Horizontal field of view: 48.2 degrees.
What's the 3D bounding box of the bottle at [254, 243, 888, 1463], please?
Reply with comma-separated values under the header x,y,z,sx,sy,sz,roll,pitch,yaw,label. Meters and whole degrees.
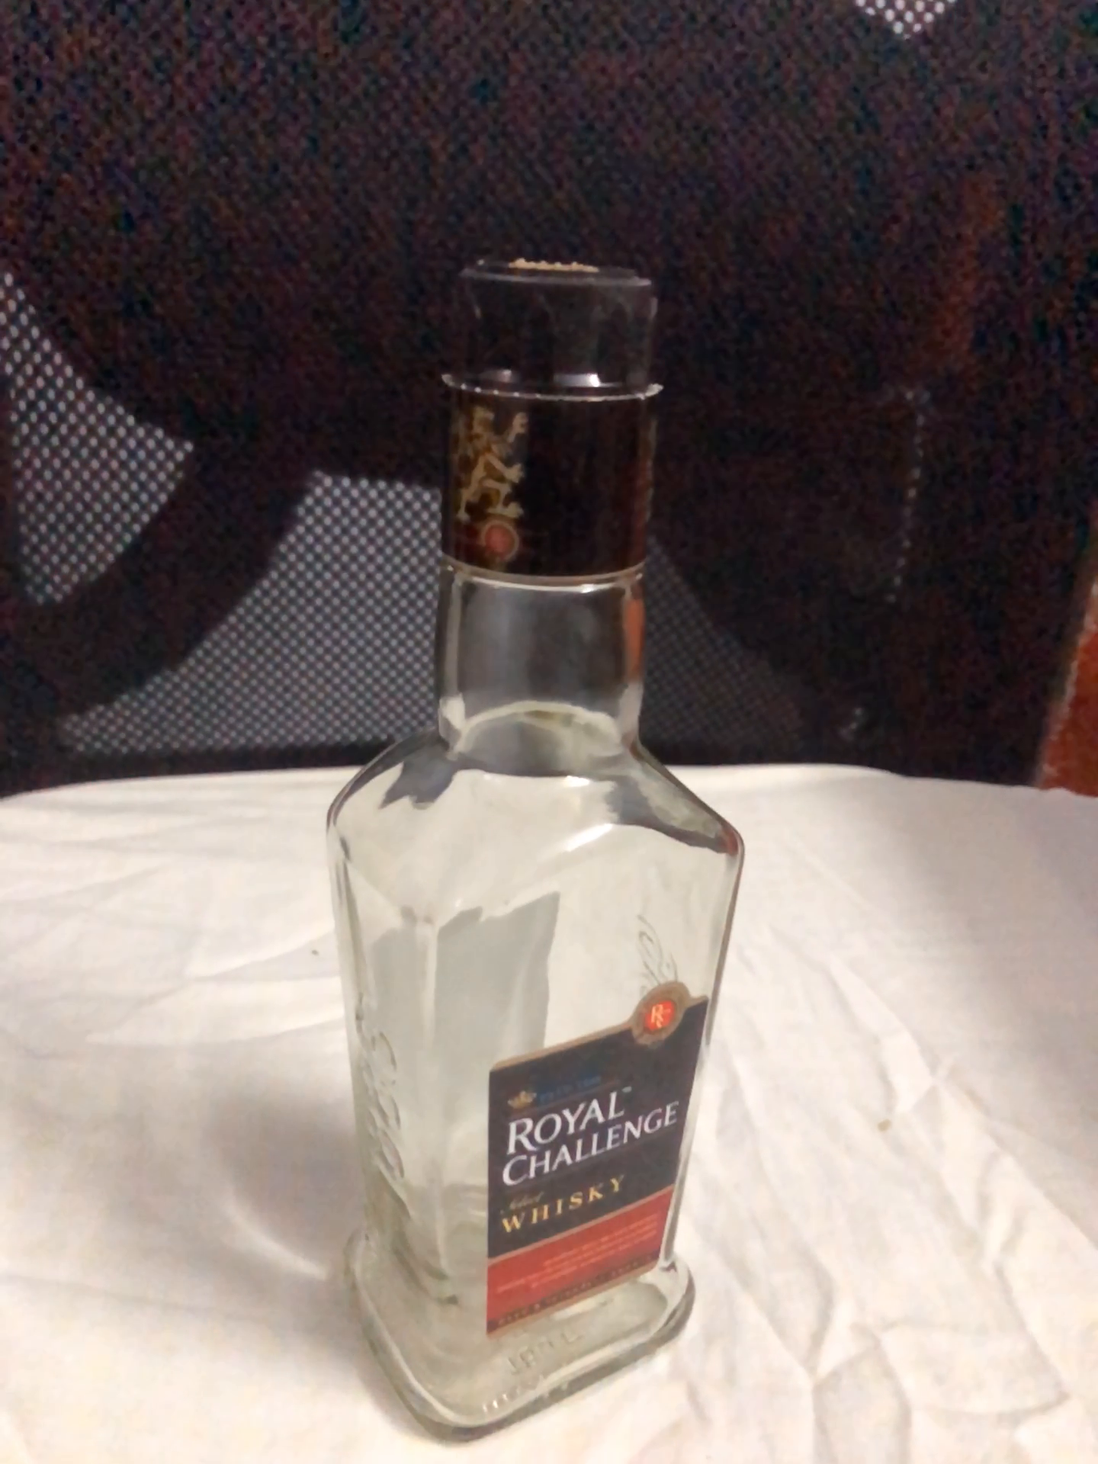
x,y,z,sx,sy,sz,roll,pitch,yaw,label
-0.004,0.028,0.205,0.070,0.199,0.050,-10,27,-30,bottle
